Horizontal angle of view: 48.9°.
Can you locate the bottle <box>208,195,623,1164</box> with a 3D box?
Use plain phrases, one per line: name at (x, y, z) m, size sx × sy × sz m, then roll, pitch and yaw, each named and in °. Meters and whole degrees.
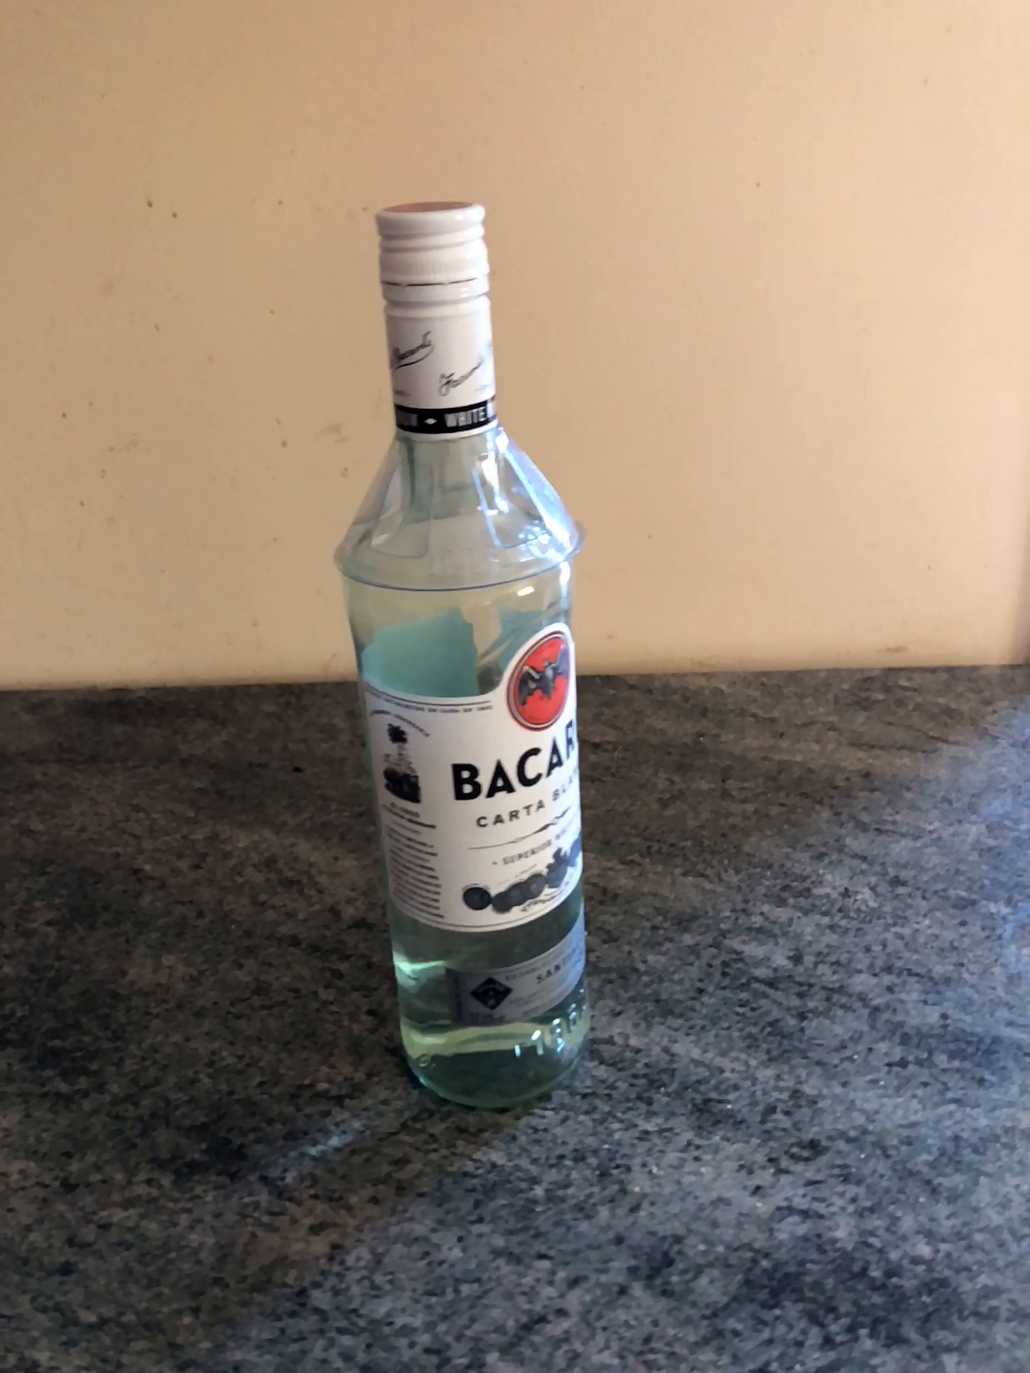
bottle at (-0.019, 0.004, 0.372) m, size 0.080 × 0.298 × 0.080 m, roll -2°, pitch 25°, yaw 1°
